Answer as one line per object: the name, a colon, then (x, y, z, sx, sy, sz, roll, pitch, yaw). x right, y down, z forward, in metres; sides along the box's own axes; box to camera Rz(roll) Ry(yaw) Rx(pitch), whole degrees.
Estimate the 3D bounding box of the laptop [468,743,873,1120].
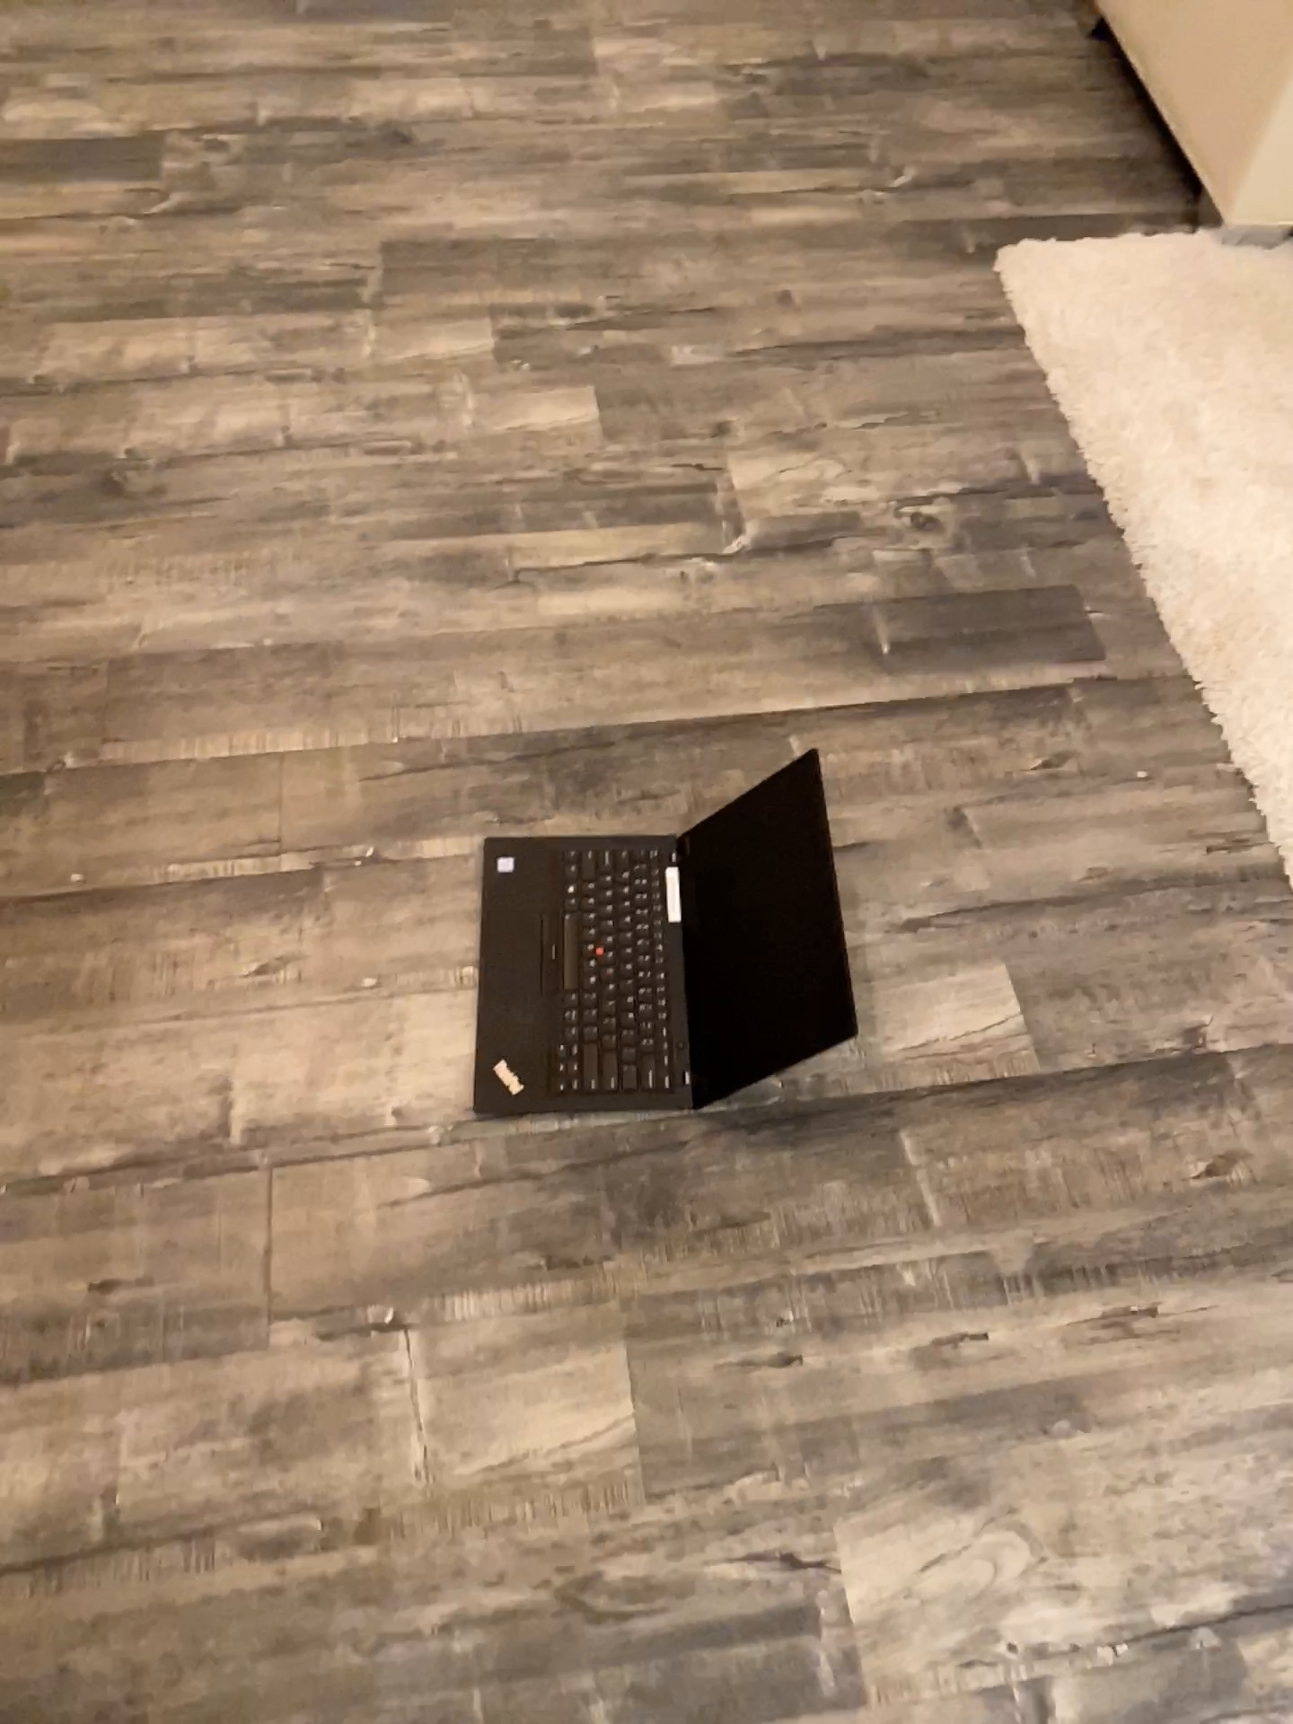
laptop: (0.012, 0.065, 1.302, 0.355, 0.149, 0.320, -3, 56, -1)
